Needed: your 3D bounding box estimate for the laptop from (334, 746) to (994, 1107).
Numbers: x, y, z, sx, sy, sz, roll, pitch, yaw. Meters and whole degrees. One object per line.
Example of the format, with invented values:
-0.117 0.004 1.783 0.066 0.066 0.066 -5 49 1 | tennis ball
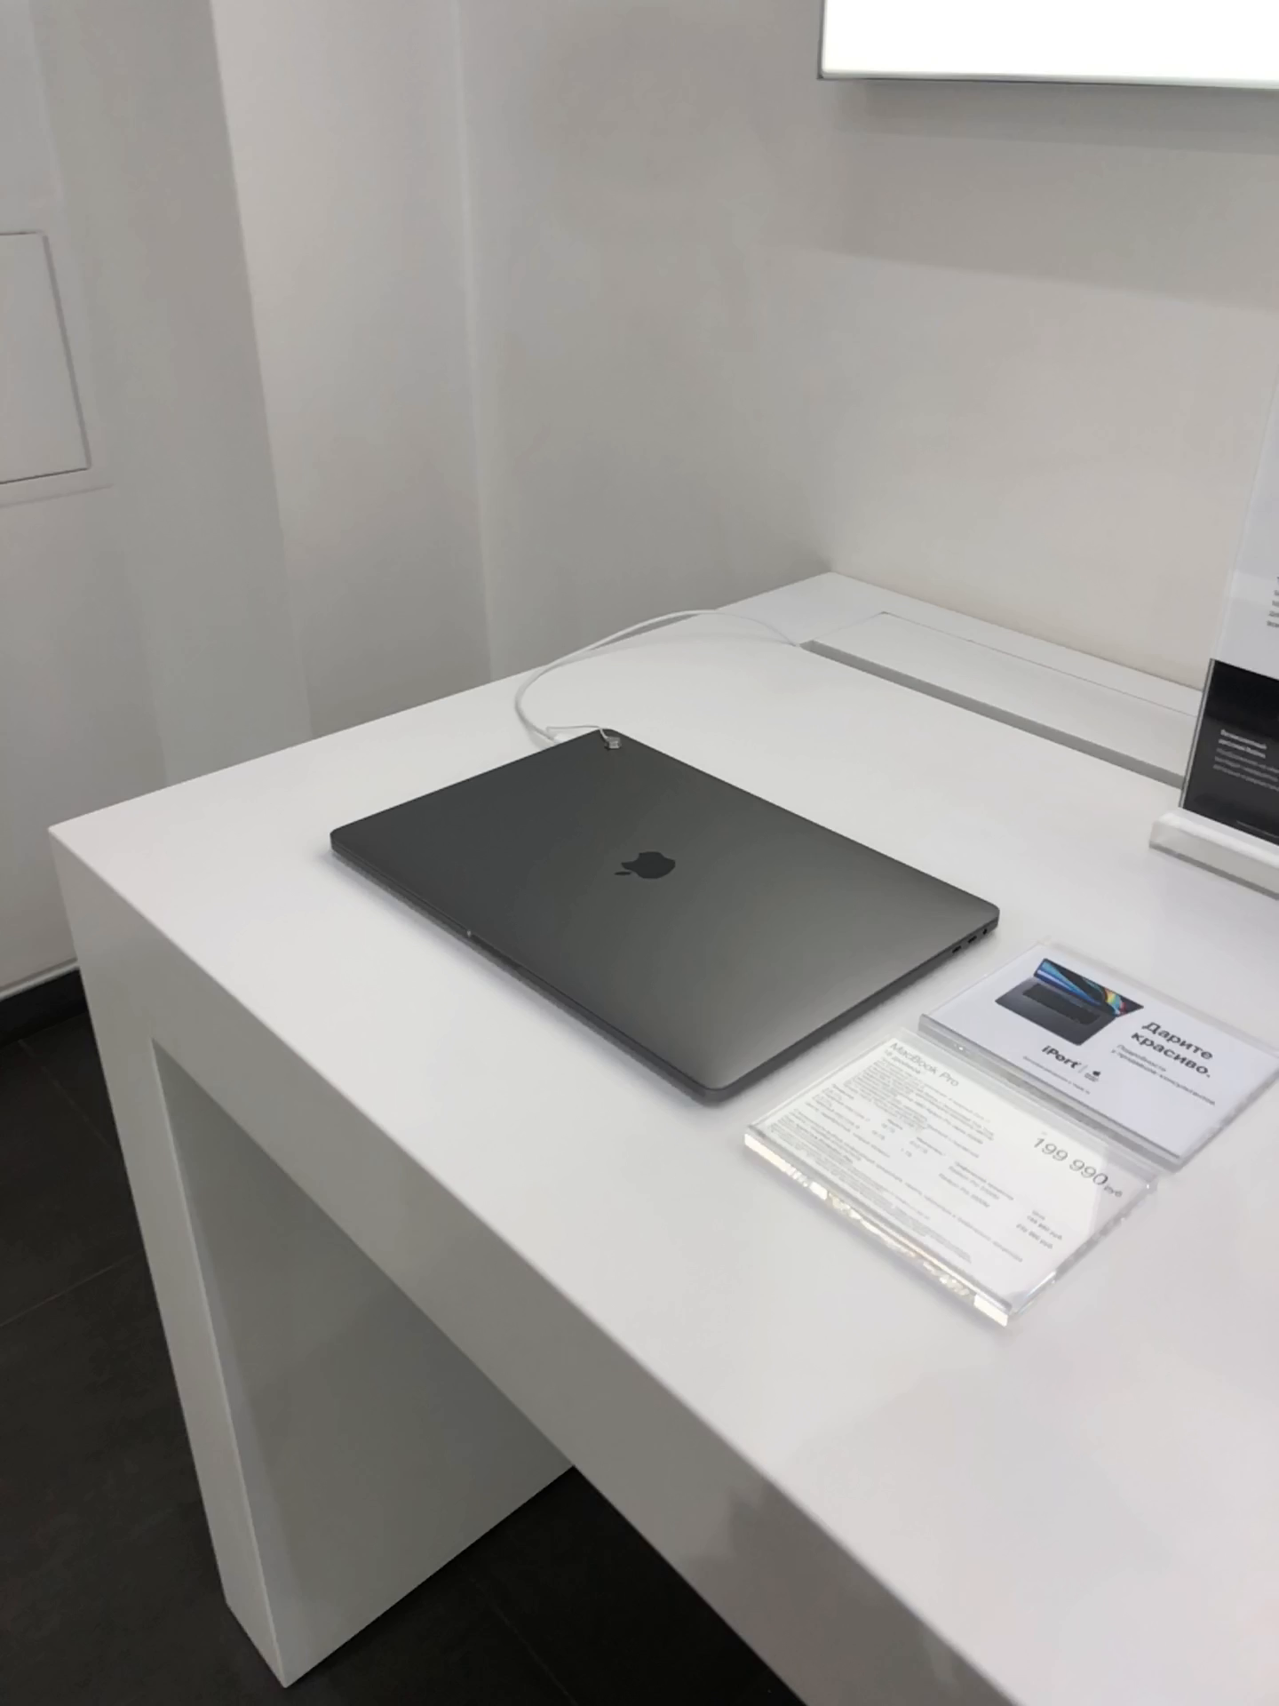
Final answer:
0.005 0.022 0.858 0.231 0.003 0.345 -25 37 -36 | laptop
